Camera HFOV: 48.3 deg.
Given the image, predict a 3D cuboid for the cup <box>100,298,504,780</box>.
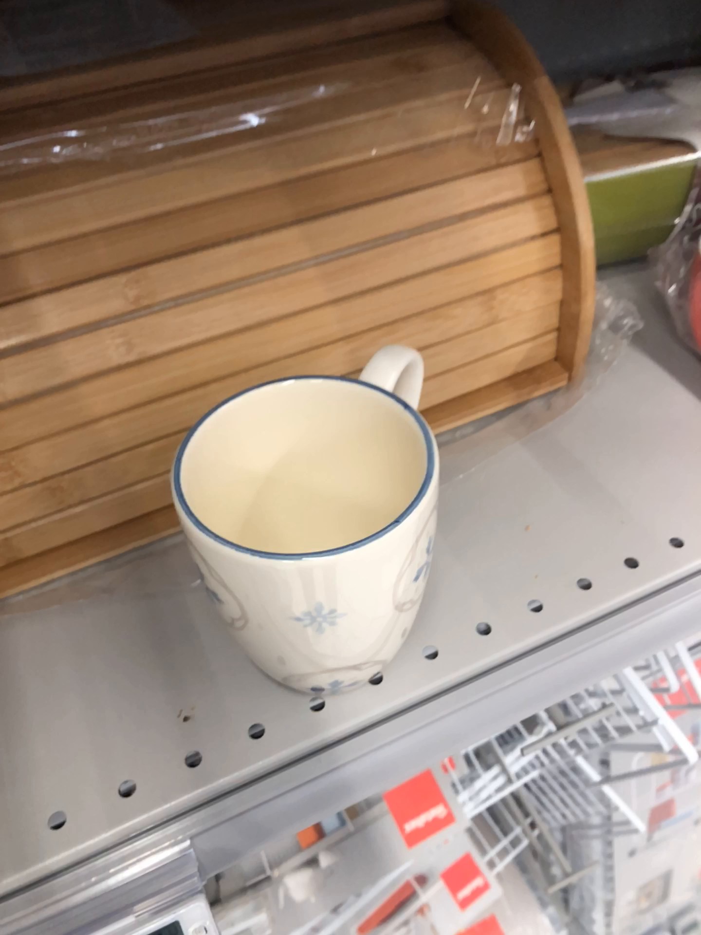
[{"bbox_3d":[-0.006,0.020,0.288,0.083,0.089,0.134,15,49,17],"label":"cup"}]
